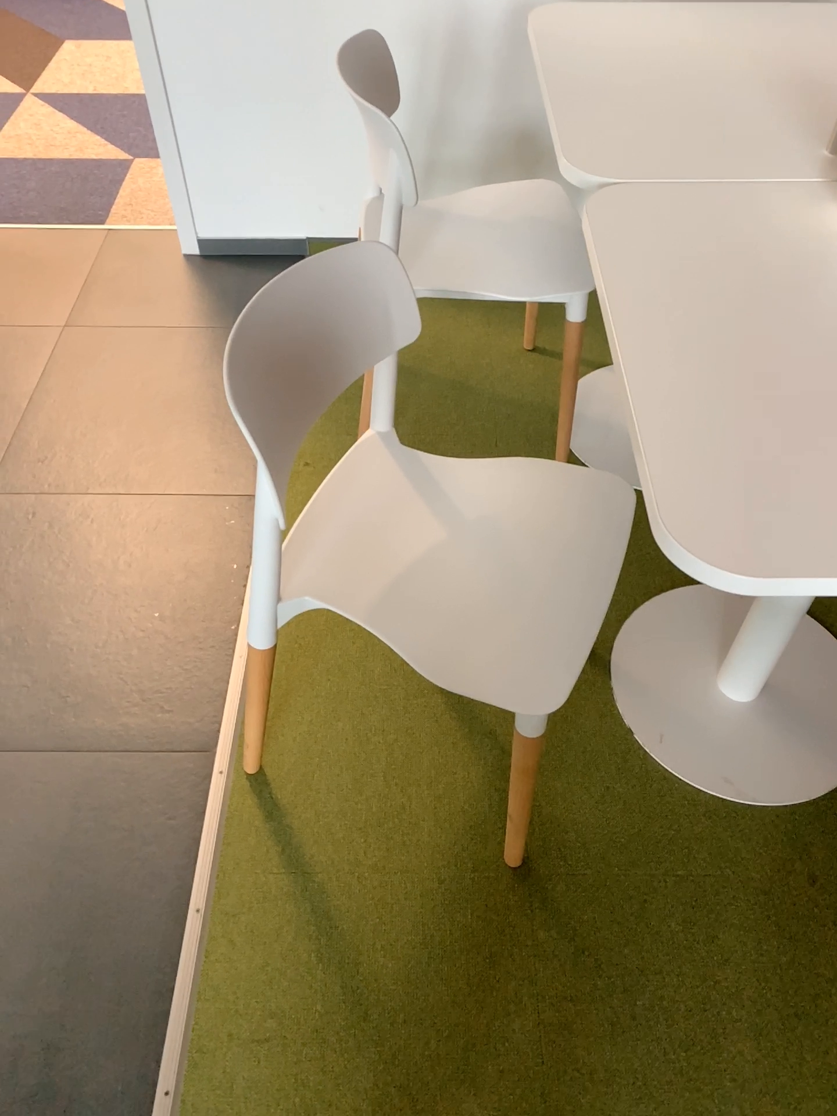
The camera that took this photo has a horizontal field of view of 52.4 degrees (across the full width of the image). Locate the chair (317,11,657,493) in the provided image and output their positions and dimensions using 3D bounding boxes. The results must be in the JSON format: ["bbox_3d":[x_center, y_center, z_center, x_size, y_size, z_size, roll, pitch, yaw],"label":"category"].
[{"bbox_3d":[0.086,-0.608,1.756,0.510,0.727,0.562,-4,50,-4],"label":"chair"}]

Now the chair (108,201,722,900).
[{"bbox_3d":[0.026,0.019,1.214,0.500,0.747,0.512,19,53,15],"label":"chair"}]
